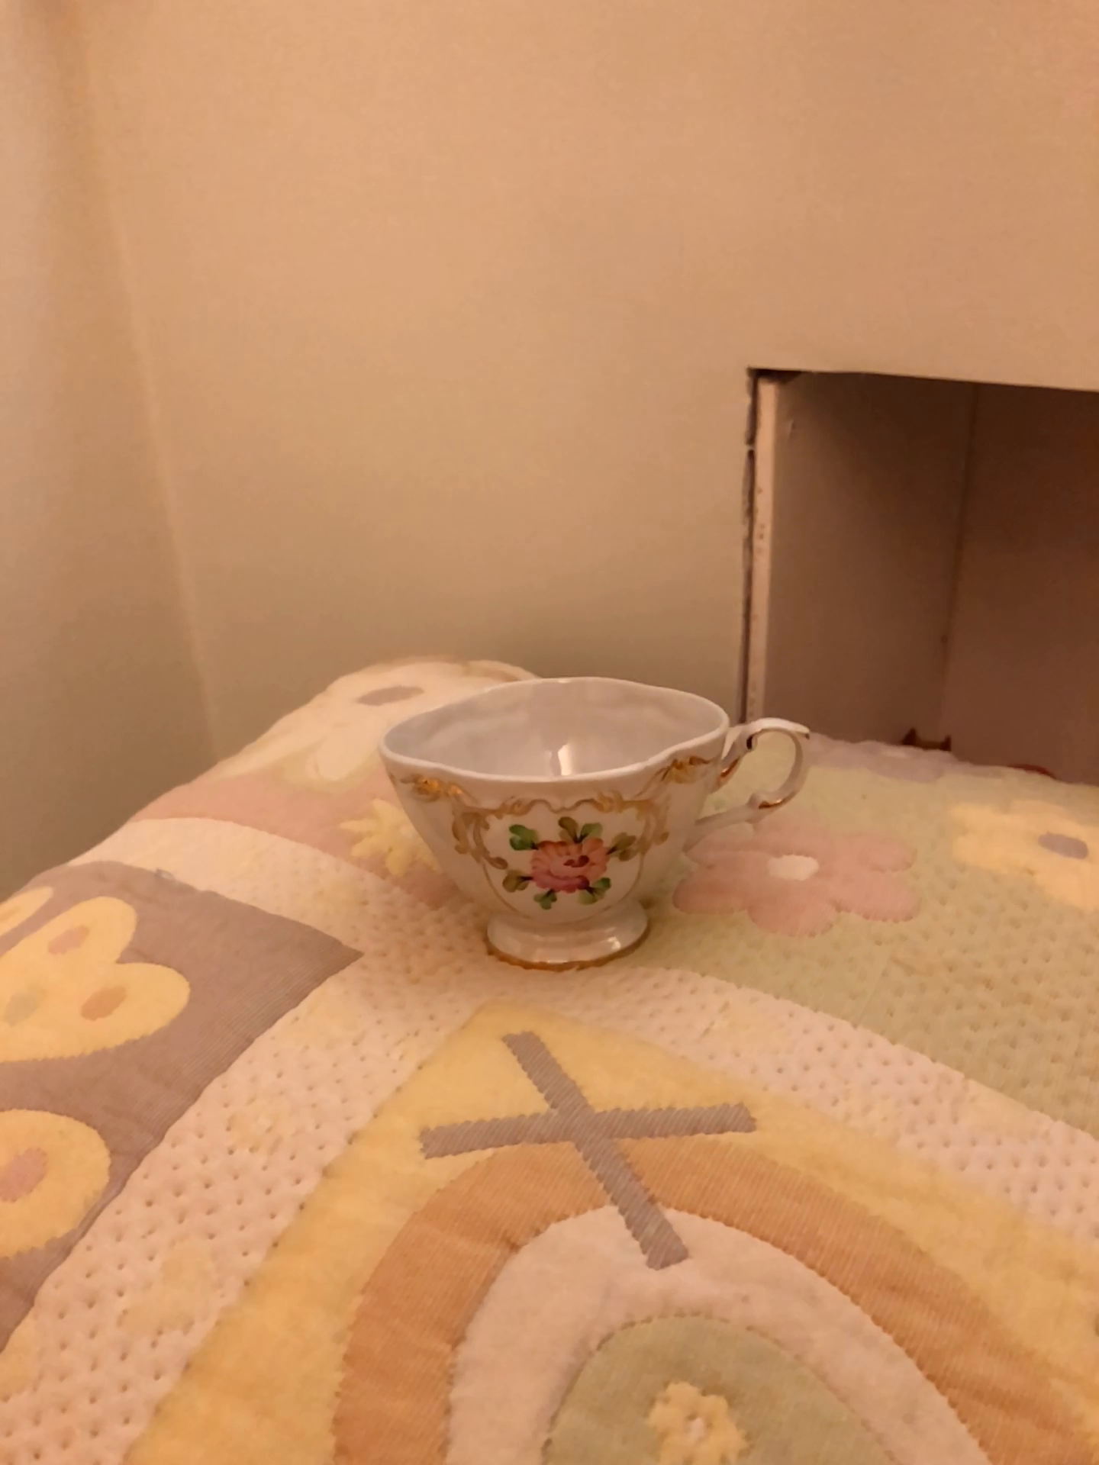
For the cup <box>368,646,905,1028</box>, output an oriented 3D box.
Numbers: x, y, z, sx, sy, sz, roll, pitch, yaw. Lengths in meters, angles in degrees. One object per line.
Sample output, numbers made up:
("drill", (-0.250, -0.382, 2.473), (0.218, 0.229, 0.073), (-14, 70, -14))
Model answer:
("cup", (0.021, 0.025, 0.371), (0.140, 0.070, 0.100), (-5, 17, -5))
